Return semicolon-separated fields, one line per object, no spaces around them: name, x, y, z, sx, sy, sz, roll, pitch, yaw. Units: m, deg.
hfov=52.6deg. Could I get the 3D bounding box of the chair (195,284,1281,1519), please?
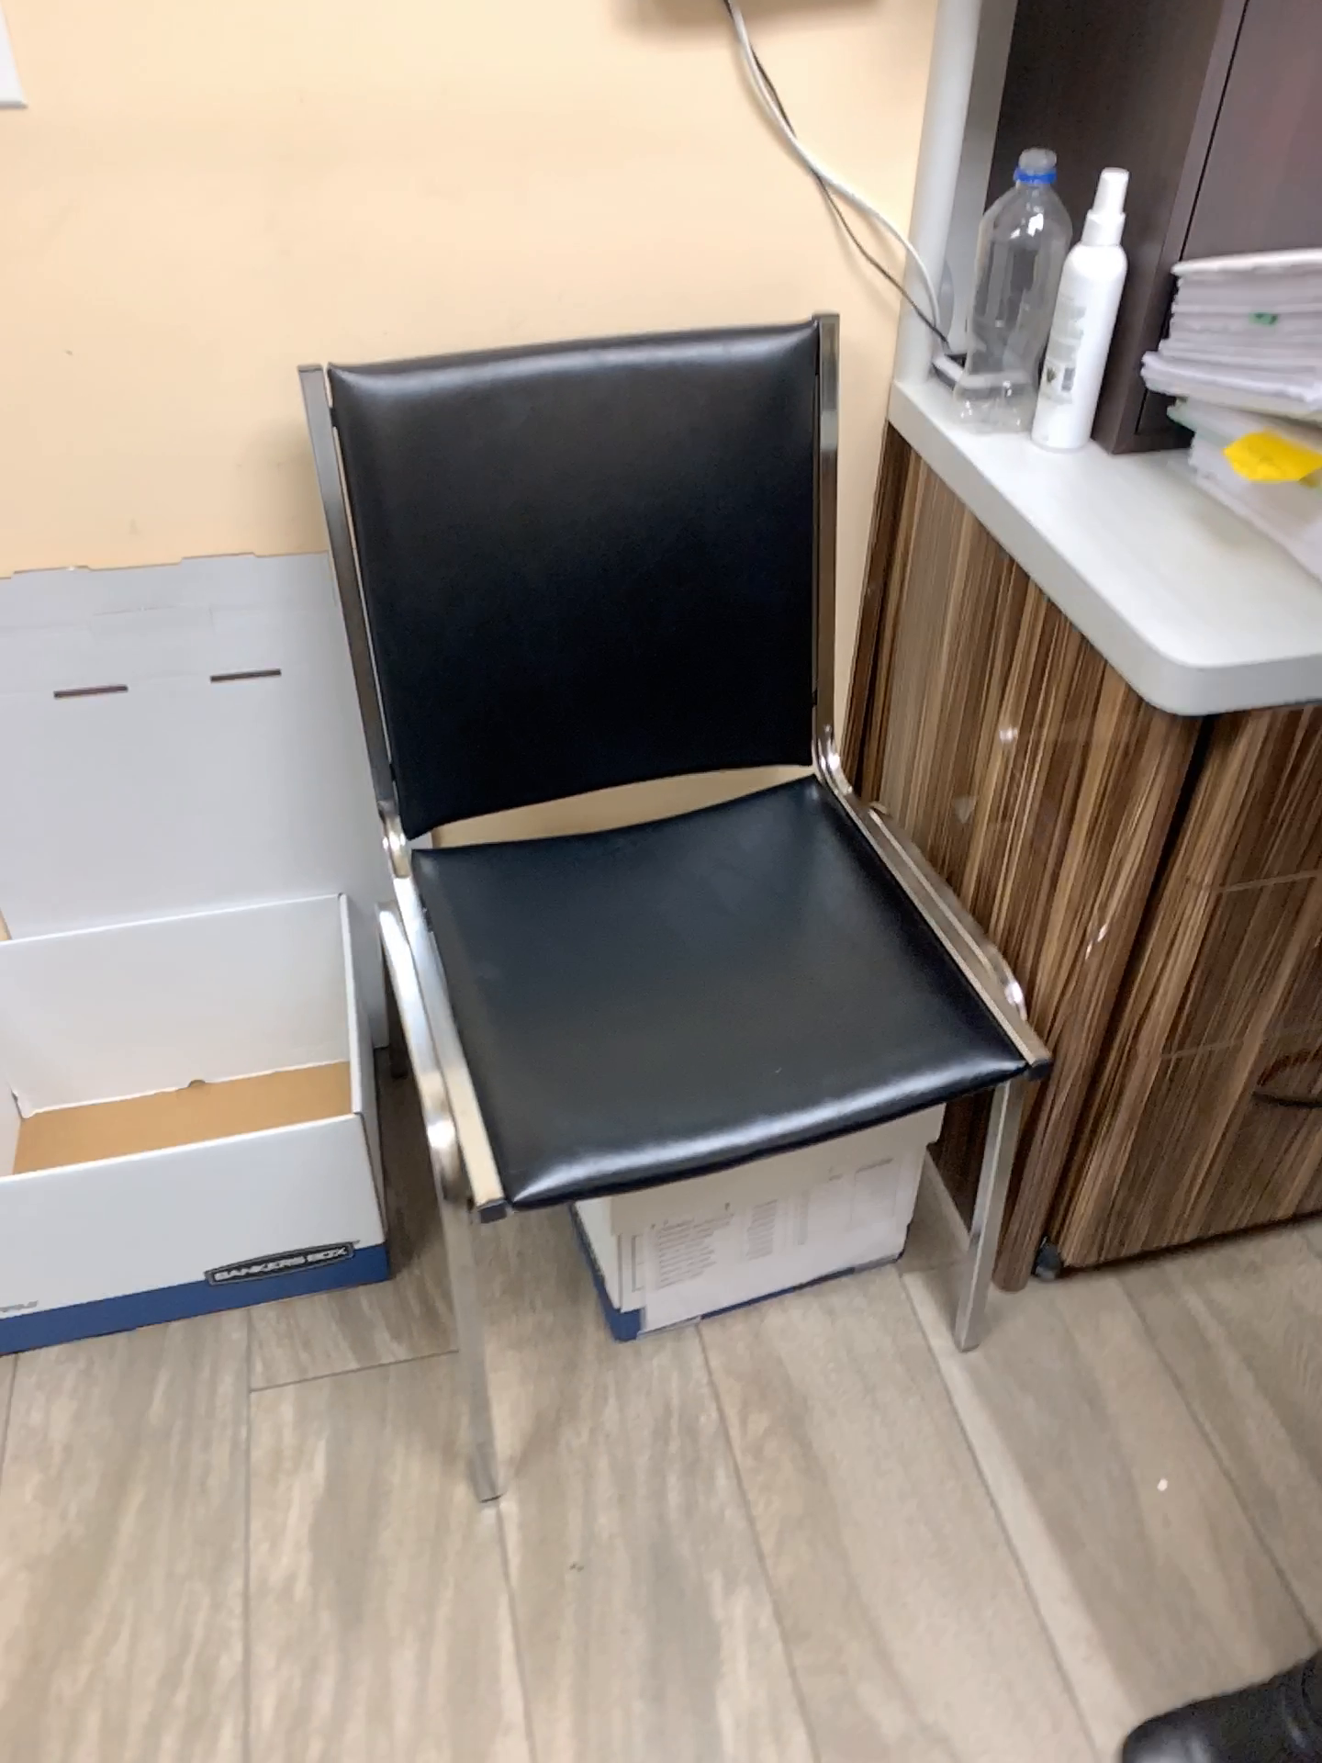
chair;-0.003;0.028;1.140;0.554;0.813;0.531;-12;44;-13
